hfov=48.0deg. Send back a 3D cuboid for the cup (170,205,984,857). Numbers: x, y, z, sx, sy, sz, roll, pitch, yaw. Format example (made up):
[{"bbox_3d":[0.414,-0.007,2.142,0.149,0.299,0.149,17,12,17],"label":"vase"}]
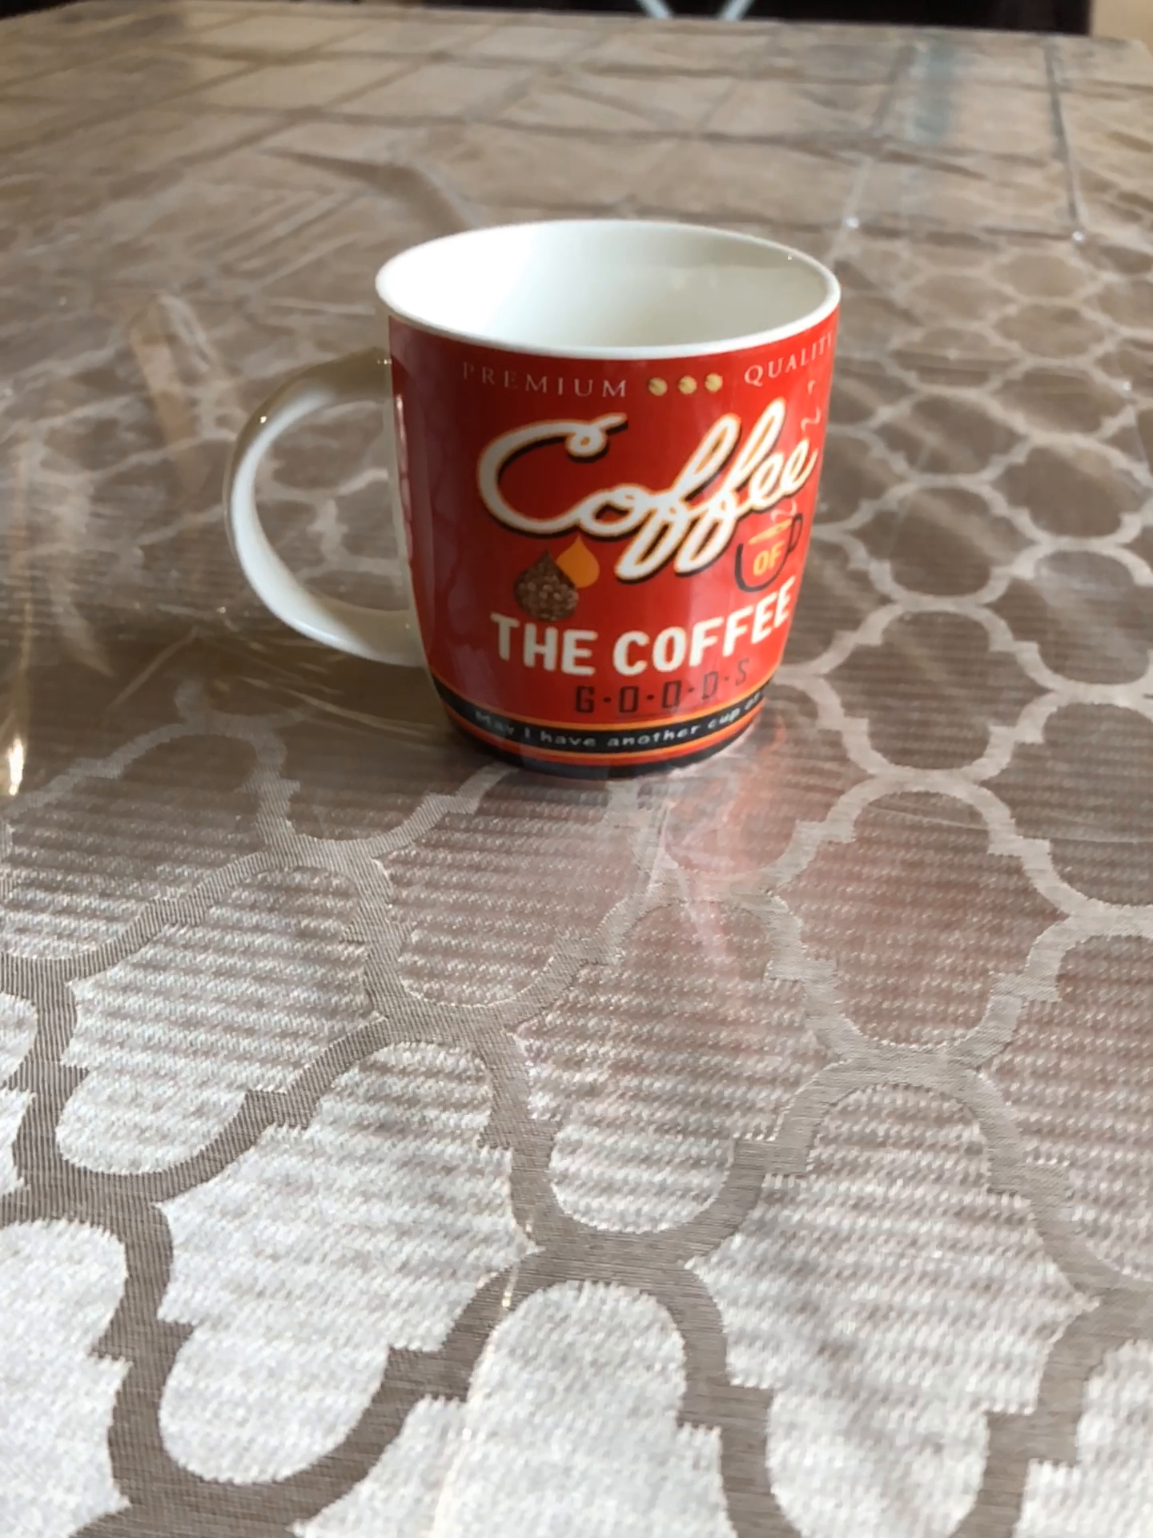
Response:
[{"bbox_3d":[-0.010,-0.060,0.274,0.130,0.080,0.121,0,35,0],"label":"cup"}]
